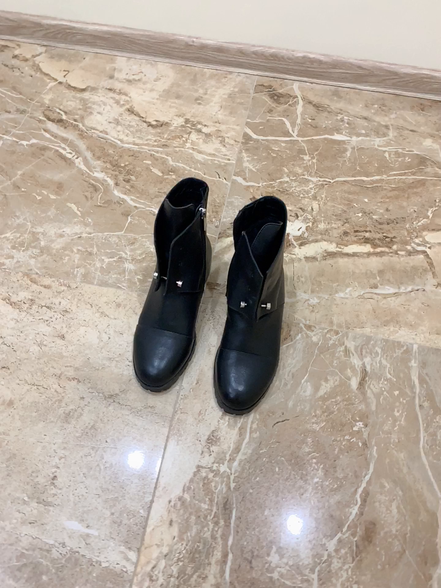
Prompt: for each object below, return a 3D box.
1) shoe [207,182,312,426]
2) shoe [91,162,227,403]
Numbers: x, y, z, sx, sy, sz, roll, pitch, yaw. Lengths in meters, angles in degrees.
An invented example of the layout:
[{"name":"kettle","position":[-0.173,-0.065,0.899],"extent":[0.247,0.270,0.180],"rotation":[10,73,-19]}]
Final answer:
[{"name":"shoe","position":[0.049,0.019,0.604],"extent":[0.090,0.199,0.251],"rotation":[9,60,3]},{"name":"shoe","position":[-0.065,-0.009,0.615],"extent":[0.090,0.199,0.251],"rotation":[12,63,5]}]
